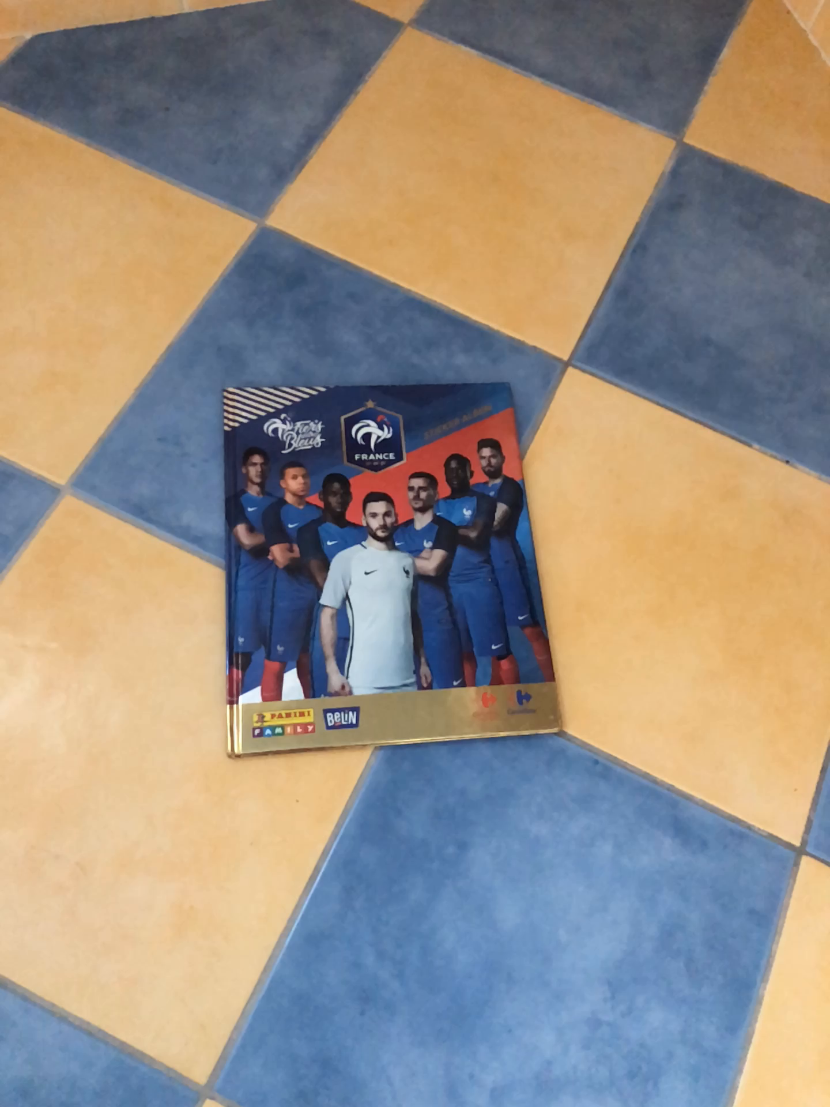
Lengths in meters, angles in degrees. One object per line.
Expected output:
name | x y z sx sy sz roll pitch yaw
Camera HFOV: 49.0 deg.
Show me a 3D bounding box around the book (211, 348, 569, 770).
book | -0.029 -0.011 0.688 0.240 0.030 0.321 -3 67 -7
